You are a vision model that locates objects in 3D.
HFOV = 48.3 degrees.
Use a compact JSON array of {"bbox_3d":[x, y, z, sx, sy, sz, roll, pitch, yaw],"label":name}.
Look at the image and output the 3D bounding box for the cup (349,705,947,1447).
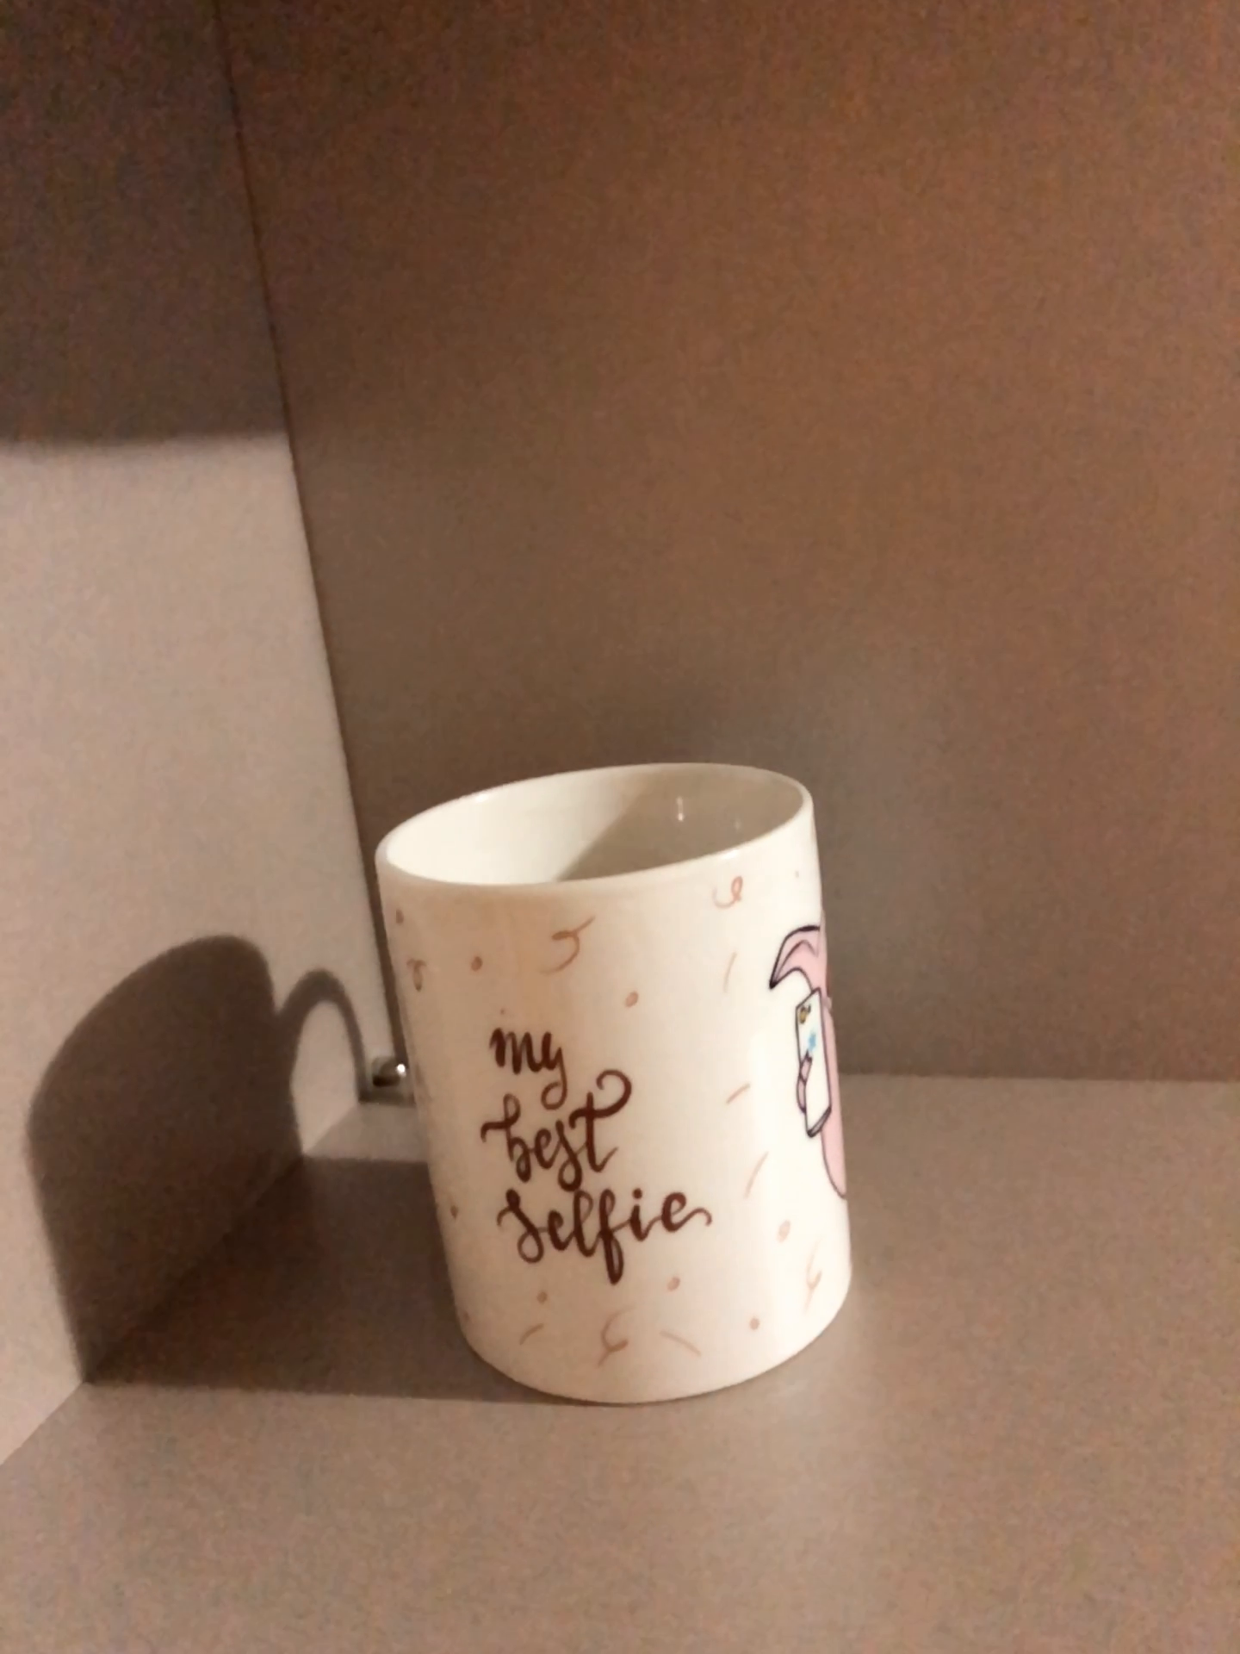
[{"bbox_3d":[0.004,0.038,0.281,0.086,0.096,0.119,-7,15,-1],"label":"cup"}]
